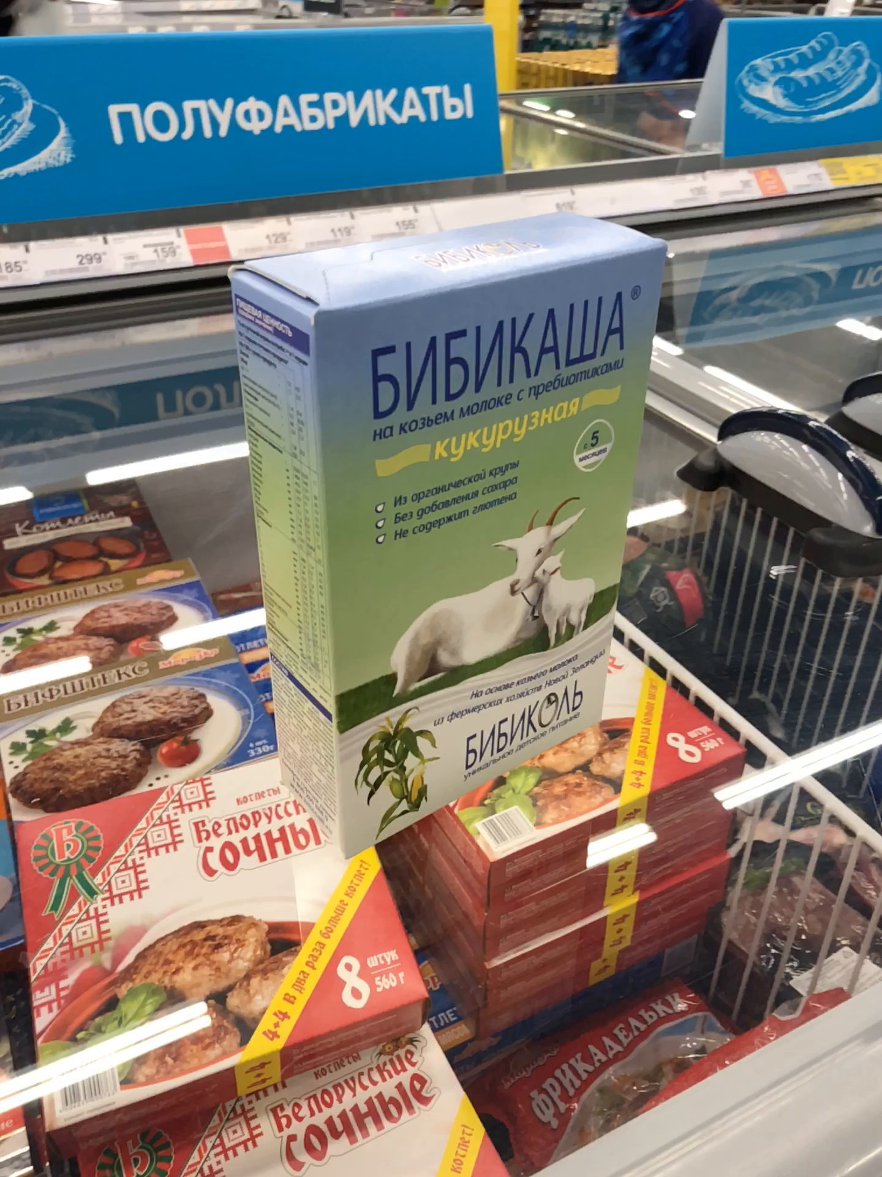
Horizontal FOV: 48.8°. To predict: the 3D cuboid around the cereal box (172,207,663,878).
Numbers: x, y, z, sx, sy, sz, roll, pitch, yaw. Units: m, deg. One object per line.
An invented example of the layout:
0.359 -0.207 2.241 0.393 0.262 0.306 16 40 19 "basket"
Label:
-0.003 -0.015 0.338 0.140 0.199 0.050 -21 39 -30 "cereal box"
